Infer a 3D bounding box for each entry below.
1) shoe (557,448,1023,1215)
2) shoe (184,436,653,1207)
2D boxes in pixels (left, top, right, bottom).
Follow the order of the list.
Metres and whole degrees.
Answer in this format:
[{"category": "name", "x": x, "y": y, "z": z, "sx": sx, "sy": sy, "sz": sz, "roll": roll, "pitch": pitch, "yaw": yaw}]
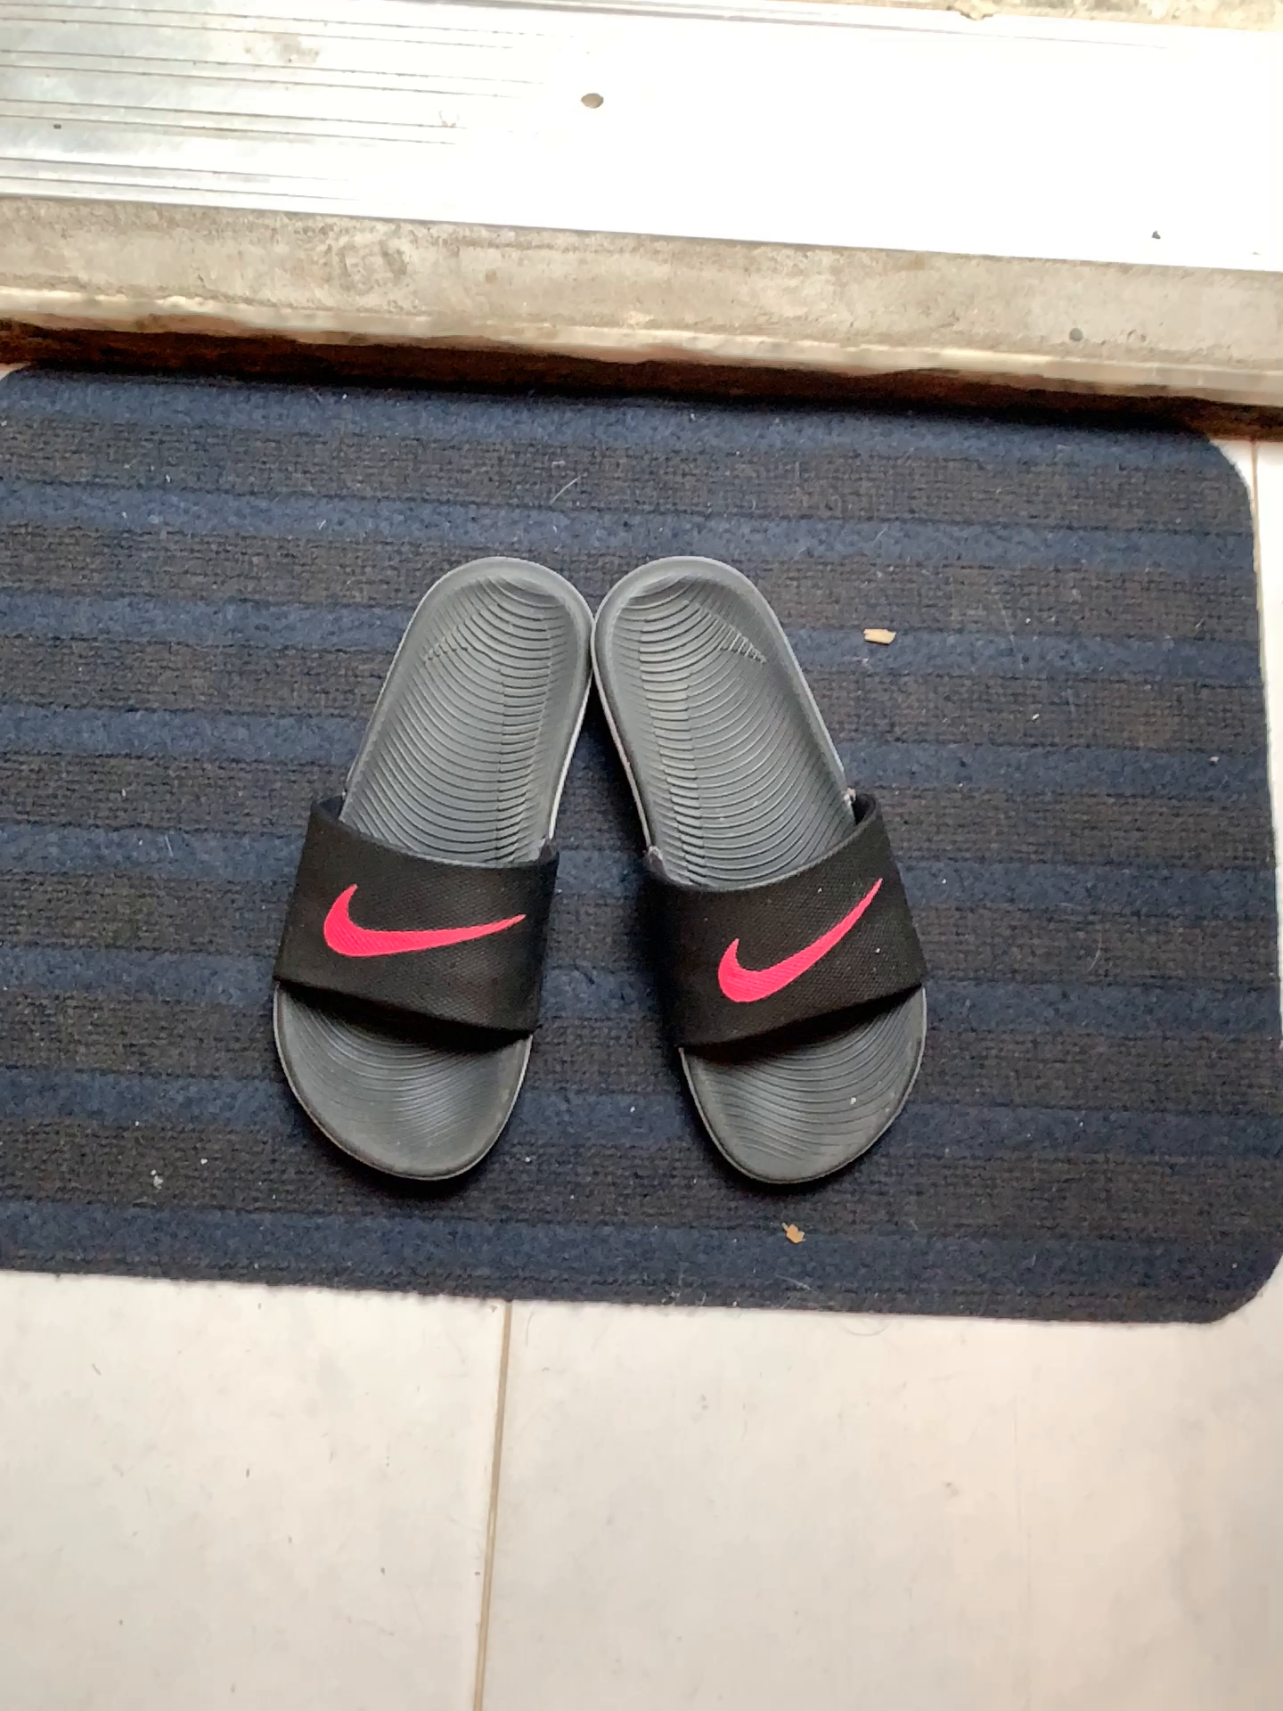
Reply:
[{"category": "shoe", "x": 0.045, "y": -0.008, "z": 0.477, "sx": 0.099, "sy": 0.078, "sz": 0.251, "roll": -12, "pitch": 78, "yaw": -4}, {"category": "shoe", "x": -0.071, "y": -0.011, "z": 0.474, "sx": 0.099, "sy": 0.078, "sz": 0.251, "roll": 12, "pitch": 77, "yaw": 1}]
